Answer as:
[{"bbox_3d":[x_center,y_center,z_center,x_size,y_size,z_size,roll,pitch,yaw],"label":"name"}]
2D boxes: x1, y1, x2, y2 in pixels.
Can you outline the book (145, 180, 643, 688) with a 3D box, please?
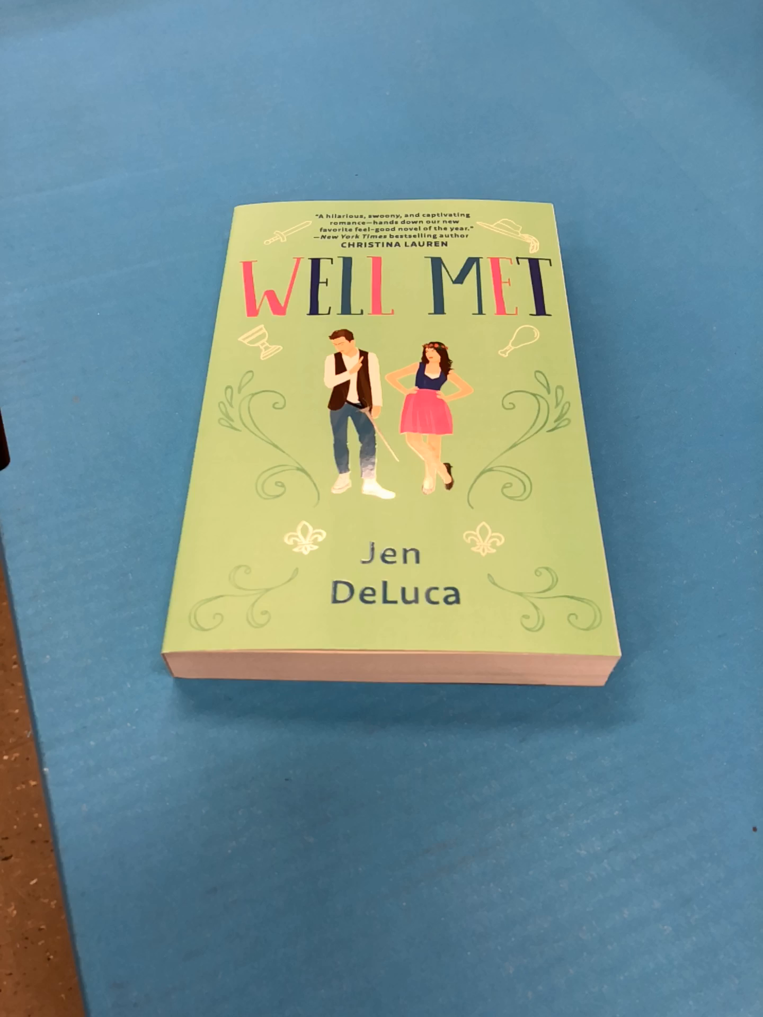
[{"bbox_3d":[0.005,-0.042,0.319,0.146,0.030,0.216,1,57,0],"label":"book"}]
